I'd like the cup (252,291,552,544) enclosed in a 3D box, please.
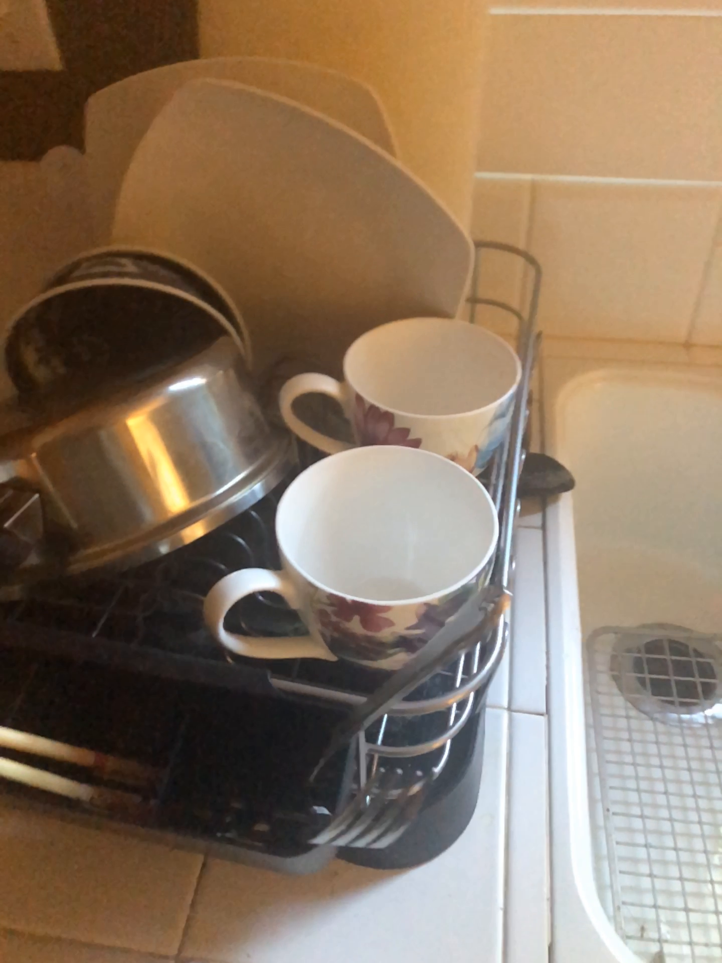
[{"bbox_3d":[0.022,-0.045,0.526,0.160,0.089,0.111,-11,43,-9],"label":"cup"}]

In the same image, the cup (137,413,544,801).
[{"bbox_3d":[-0.010,0.056,0.411,0.161,0.089,0.111,-23,46,-20],"label":"cup"}]
